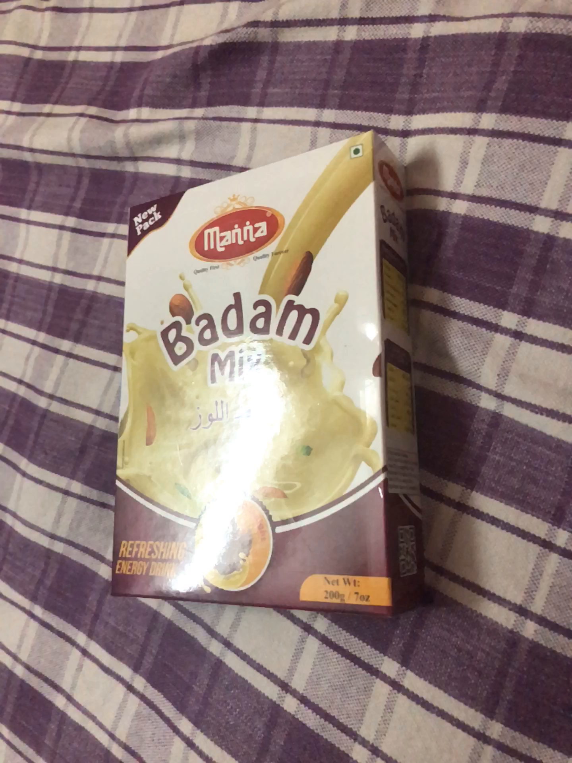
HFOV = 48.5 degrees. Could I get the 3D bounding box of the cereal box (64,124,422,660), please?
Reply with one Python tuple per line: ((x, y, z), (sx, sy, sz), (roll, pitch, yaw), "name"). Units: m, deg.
((-0.017, 0.005, 0.261), (0.130, 0.050, 0.180), (-5, 76, 28), "cereal box")
